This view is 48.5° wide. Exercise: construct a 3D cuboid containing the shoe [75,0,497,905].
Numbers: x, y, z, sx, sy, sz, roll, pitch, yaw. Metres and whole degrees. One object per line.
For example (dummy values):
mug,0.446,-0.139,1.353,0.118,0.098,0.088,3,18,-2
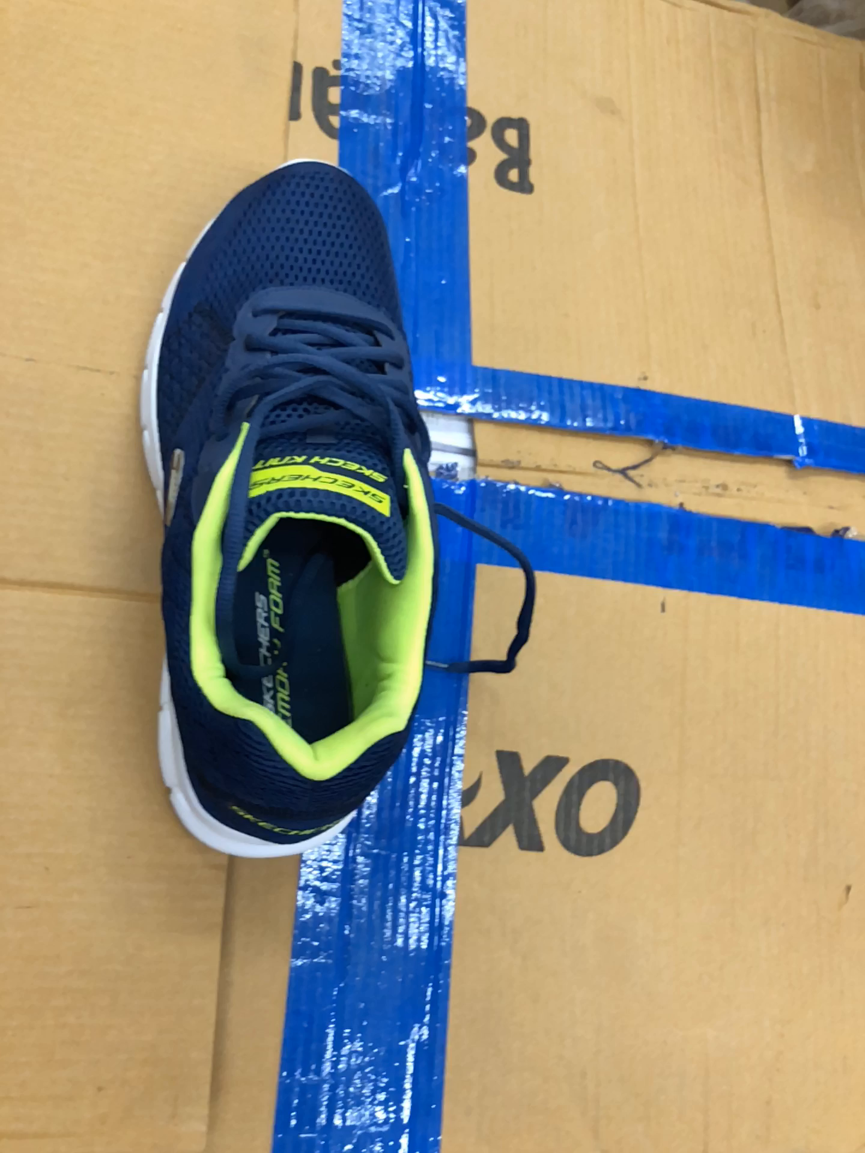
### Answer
shoe,-0.058,-0.043,0.346,0.110,0.130,0.290,2,76,-17
